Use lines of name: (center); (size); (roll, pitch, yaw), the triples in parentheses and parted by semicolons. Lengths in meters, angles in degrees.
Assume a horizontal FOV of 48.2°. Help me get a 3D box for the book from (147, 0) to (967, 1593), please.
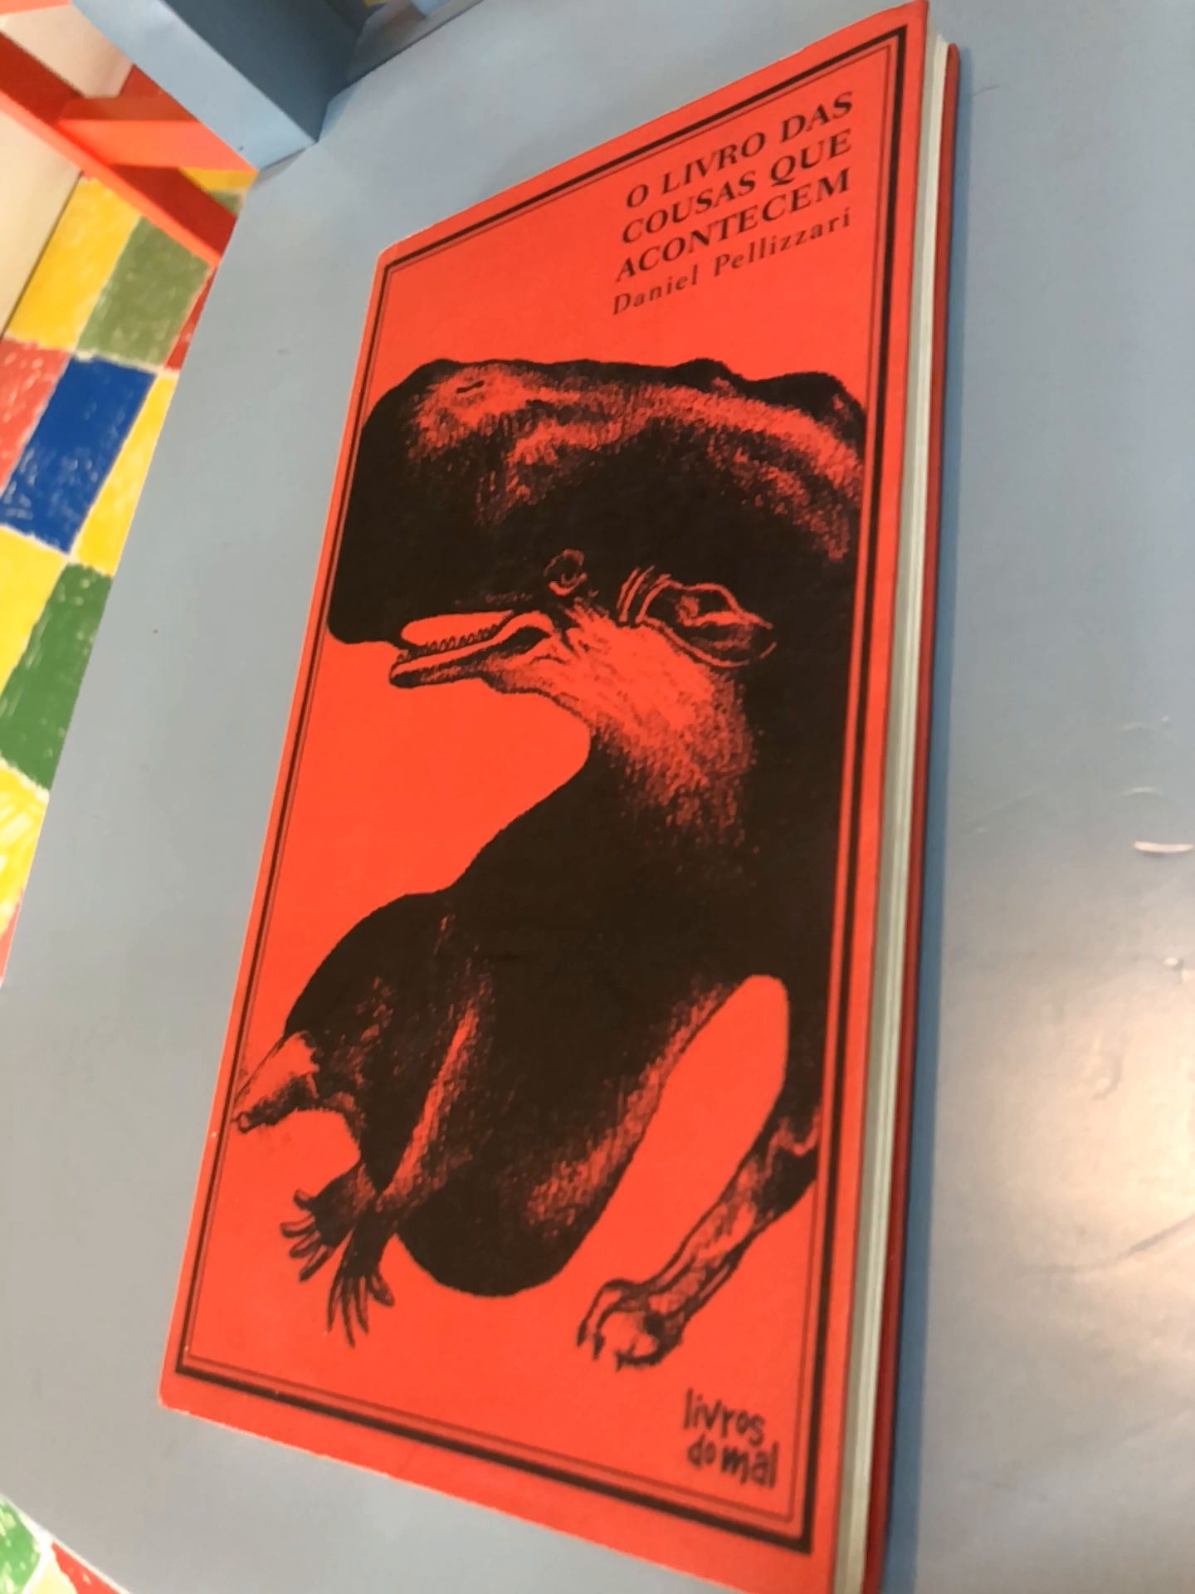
book: (-0.005, -0.010, 0.195); (0.110, 0.016, 0.200); (-7, 68, 37)
